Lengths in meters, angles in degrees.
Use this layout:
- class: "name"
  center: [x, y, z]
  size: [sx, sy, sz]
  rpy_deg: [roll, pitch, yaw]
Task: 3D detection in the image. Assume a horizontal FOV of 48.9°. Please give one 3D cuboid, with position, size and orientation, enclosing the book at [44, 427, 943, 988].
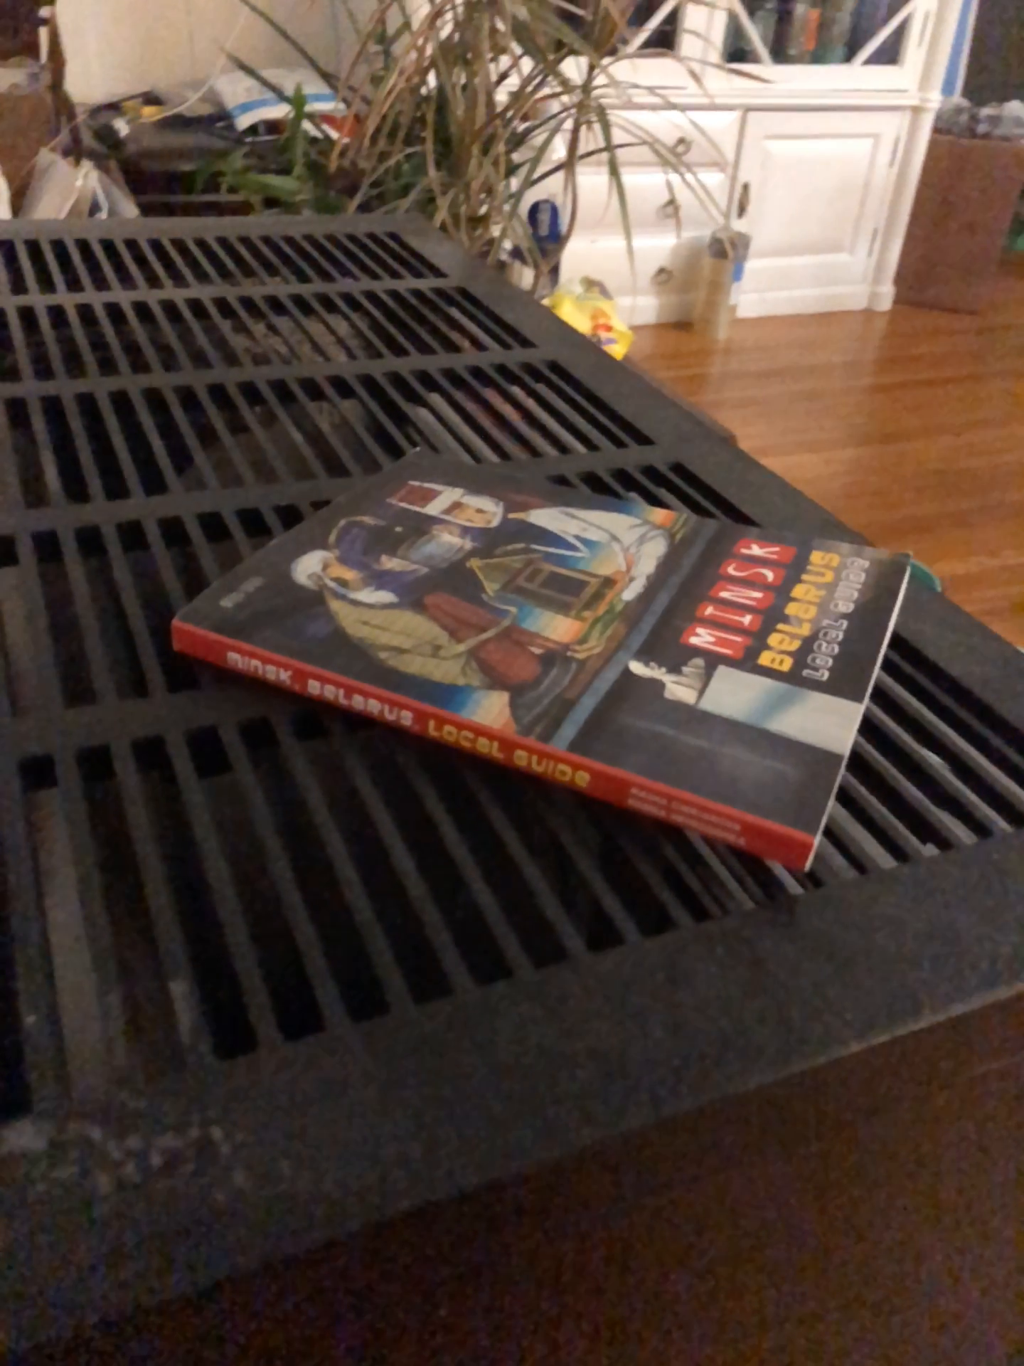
- class: "book"
  center: [0.006, -0.015, 0.318]
  size: [0.200, 0.020, 0.161]
  rpy_deg: [18, 37, 18]
